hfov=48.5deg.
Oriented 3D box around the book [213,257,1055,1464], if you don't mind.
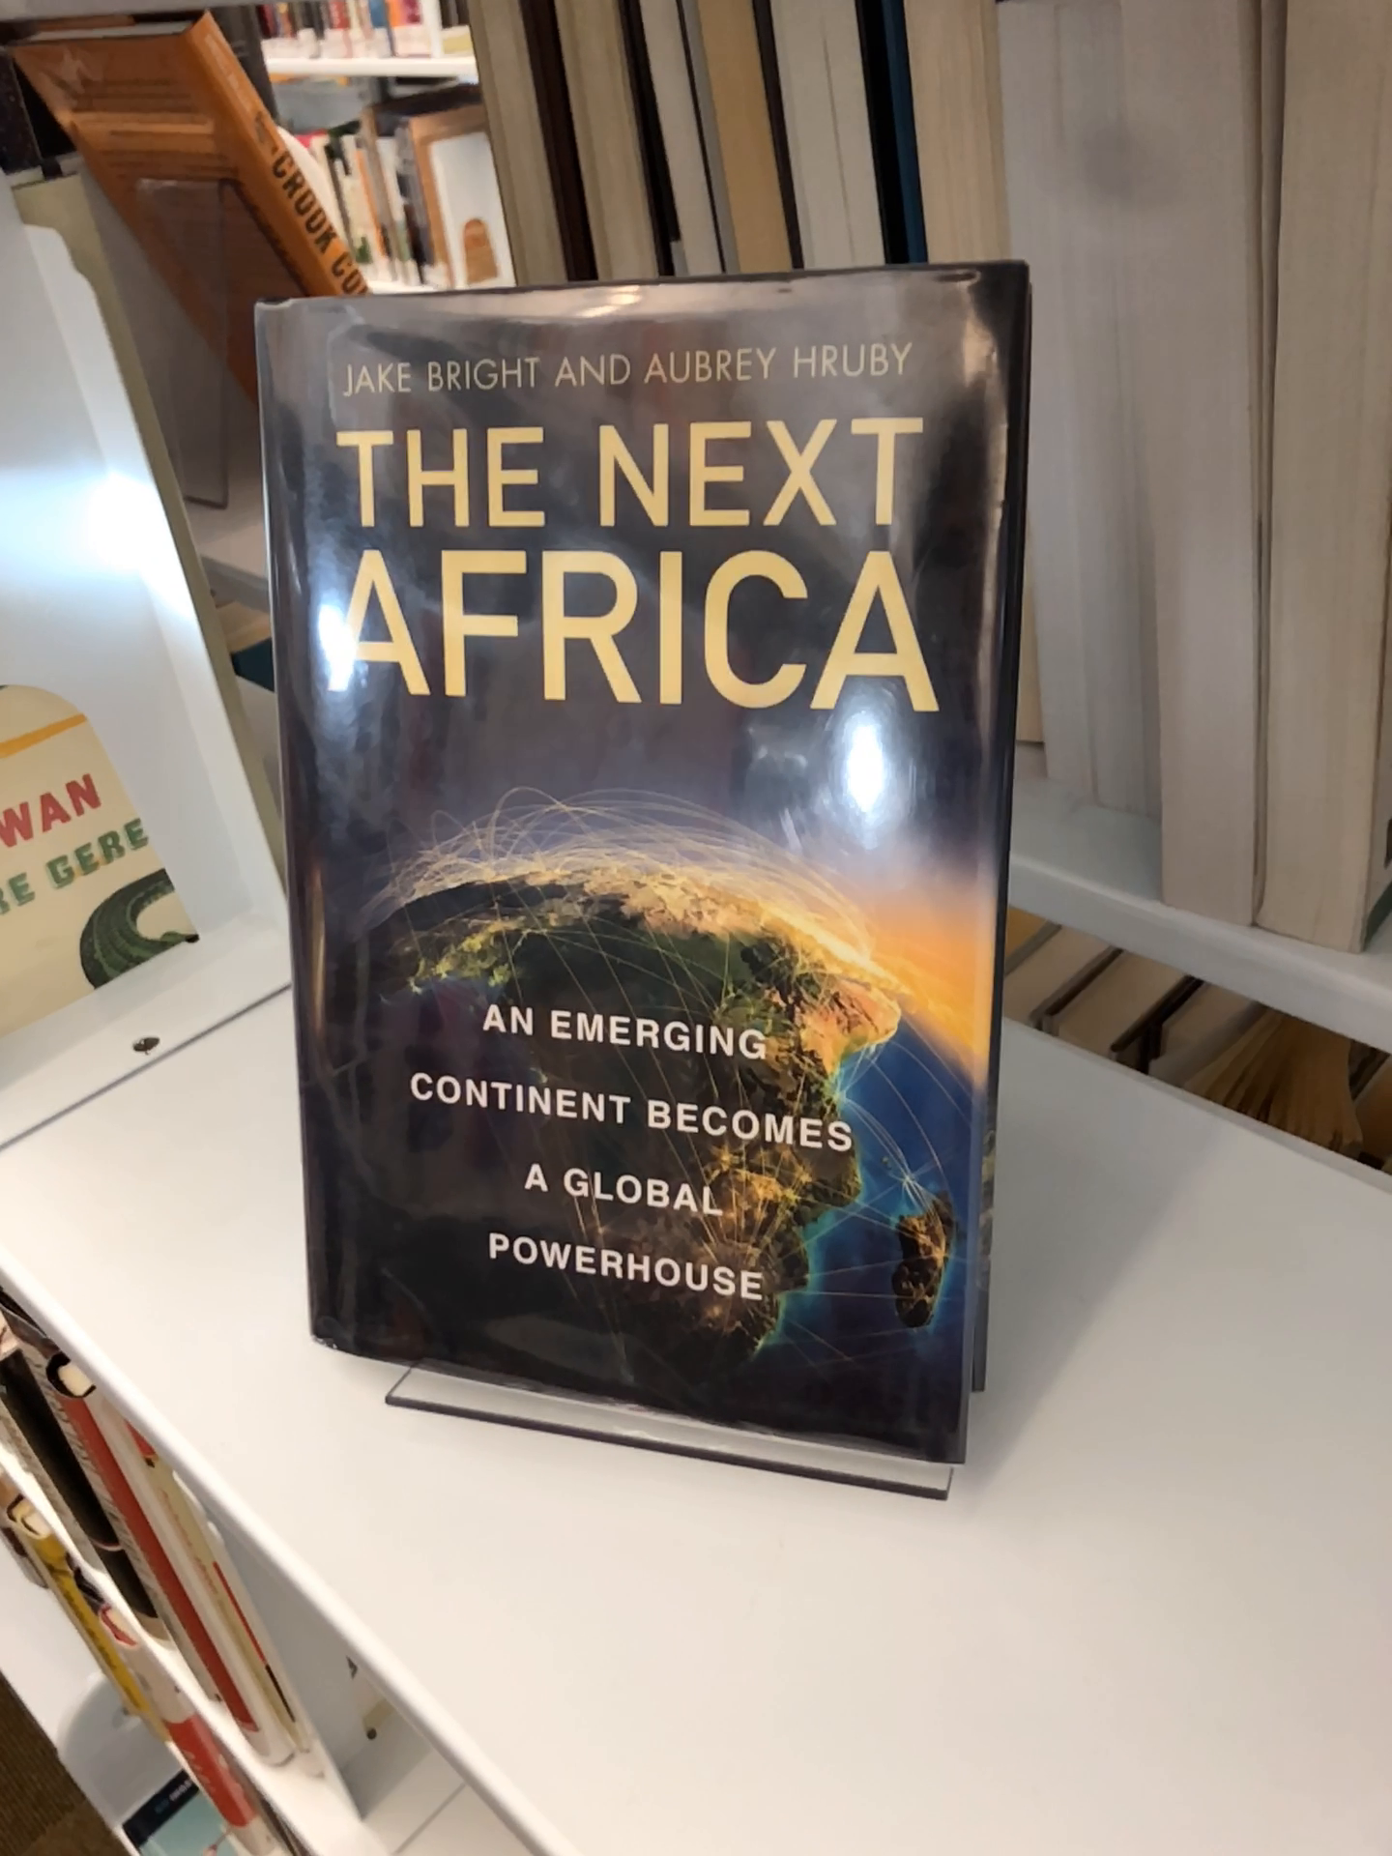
[{"bbox_3d":[-0.015,-0.012,0.304,0.153,0.211,0.030,5,13,18],"label":"book"}]
